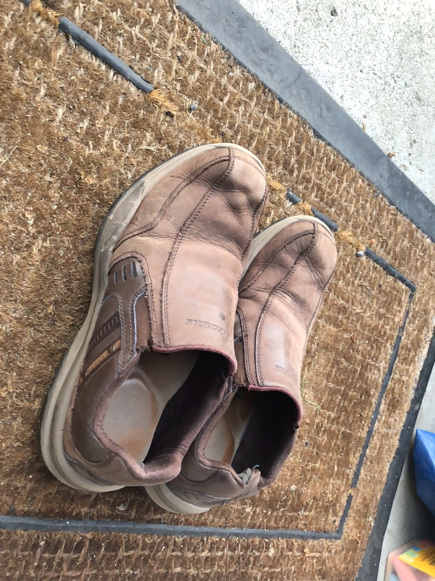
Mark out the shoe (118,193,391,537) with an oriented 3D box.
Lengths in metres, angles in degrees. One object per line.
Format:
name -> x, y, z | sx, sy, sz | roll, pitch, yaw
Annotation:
shoe -> 0.036, 0.054, 0.412 | 0.100, 0.100, 0.254 | 35, 76, -37

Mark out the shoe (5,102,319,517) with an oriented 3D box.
shoe -> -0.038, 0.011, 0.364 | 0.100, 0.100, 0.267 | 31, 78, -38
